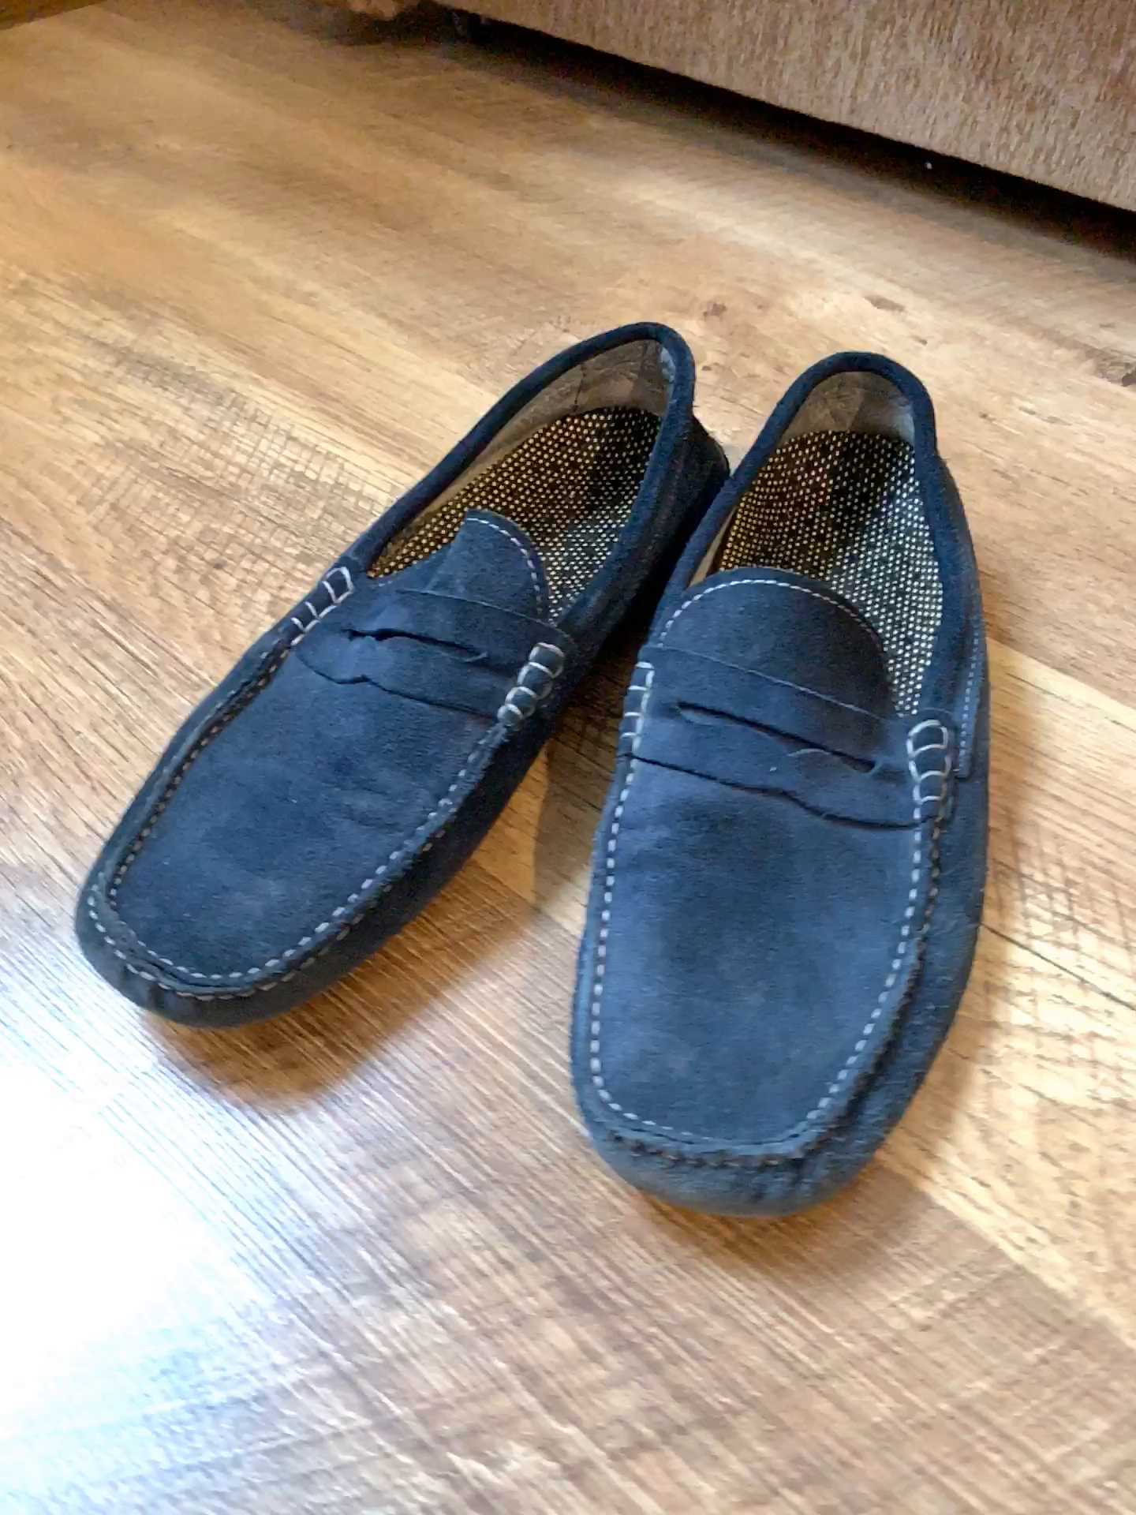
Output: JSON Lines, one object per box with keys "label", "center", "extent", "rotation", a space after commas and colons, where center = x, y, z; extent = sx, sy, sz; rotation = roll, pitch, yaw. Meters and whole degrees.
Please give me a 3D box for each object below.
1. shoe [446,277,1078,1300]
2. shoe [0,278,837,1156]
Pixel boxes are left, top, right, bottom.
{"label": "shoe", "center": [0.068, -0.025, 0.322], "extent": [0.110, 0.070, 0.291], "rotation": [11, 49, 10]}
{"label": "shoe", "center": [-0.026, -0.038, 0.339], "extent": [0.100, 0.070, 0.271], "rotation": [24, 52, 20]}
